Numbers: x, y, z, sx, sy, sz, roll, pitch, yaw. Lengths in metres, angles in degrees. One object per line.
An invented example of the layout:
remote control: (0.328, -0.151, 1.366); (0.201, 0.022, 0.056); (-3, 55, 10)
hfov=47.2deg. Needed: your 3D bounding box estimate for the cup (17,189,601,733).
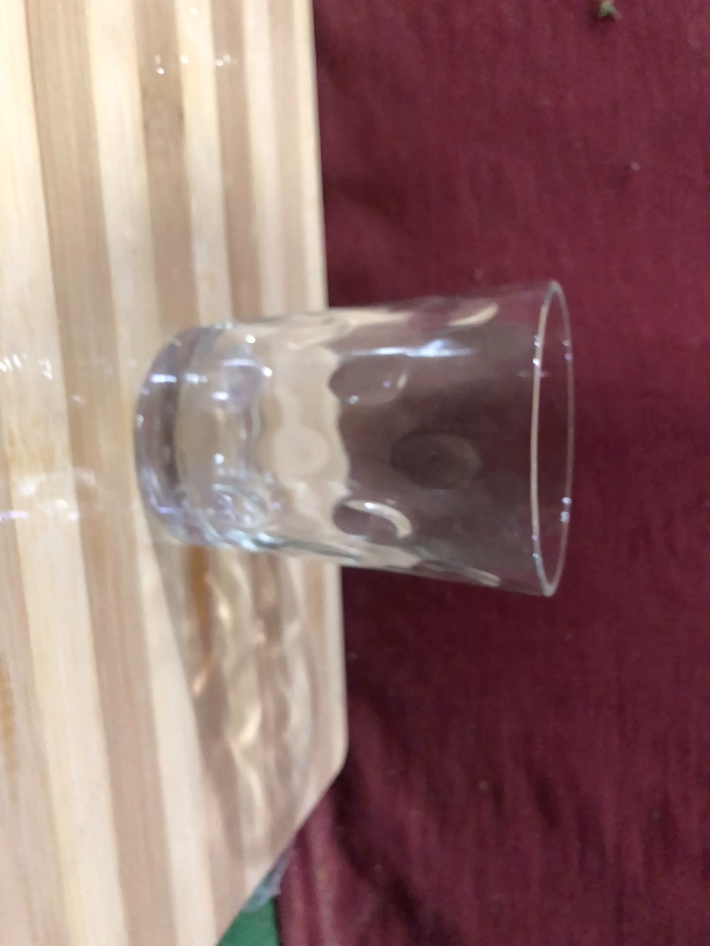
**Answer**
cup: (0.005, -0.002, 0.229); (0.100, 0.119, 0.100); (1, 90, -72)
